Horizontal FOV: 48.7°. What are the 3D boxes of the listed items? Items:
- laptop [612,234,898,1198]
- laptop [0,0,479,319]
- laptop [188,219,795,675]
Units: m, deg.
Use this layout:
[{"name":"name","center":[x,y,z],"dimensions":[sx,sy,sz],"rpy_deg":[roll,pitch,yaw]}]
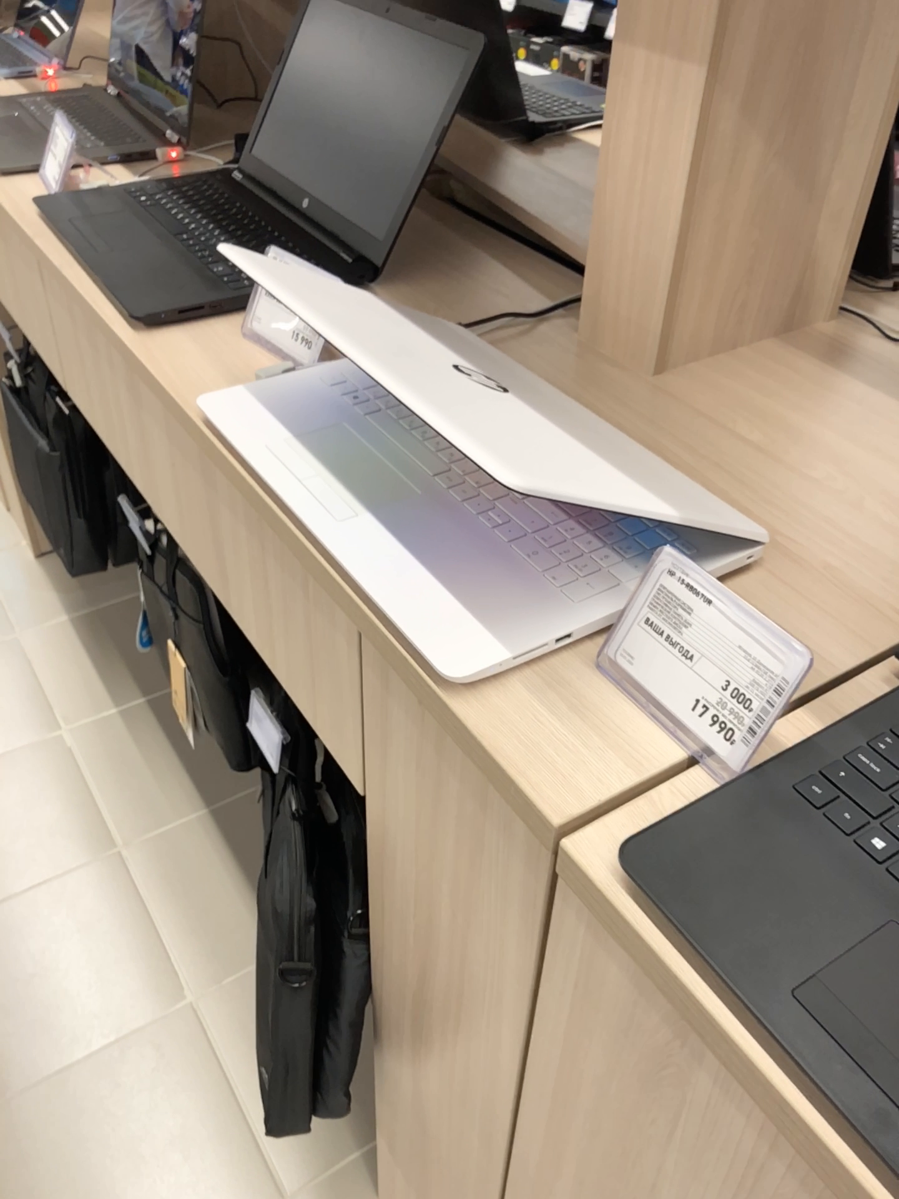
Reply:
[{"name":"laptop","center":[0.333,0.078,0.339],"dimensions":[0.350,0.219,0.392],"rpy_deg":[-21,45,-27]},{"name":"laptop","center":[-0.225,-0.505,1.055],"dimensions":[0.368,0.203,0.387],"rpy_deg":[-20,44,-26]},{"name":"laptop","center":[0.003,-0.137,0.688],"dimensions":[0.232,0.103,0.369],"rpy_deg":[-22,44,-24]}]
